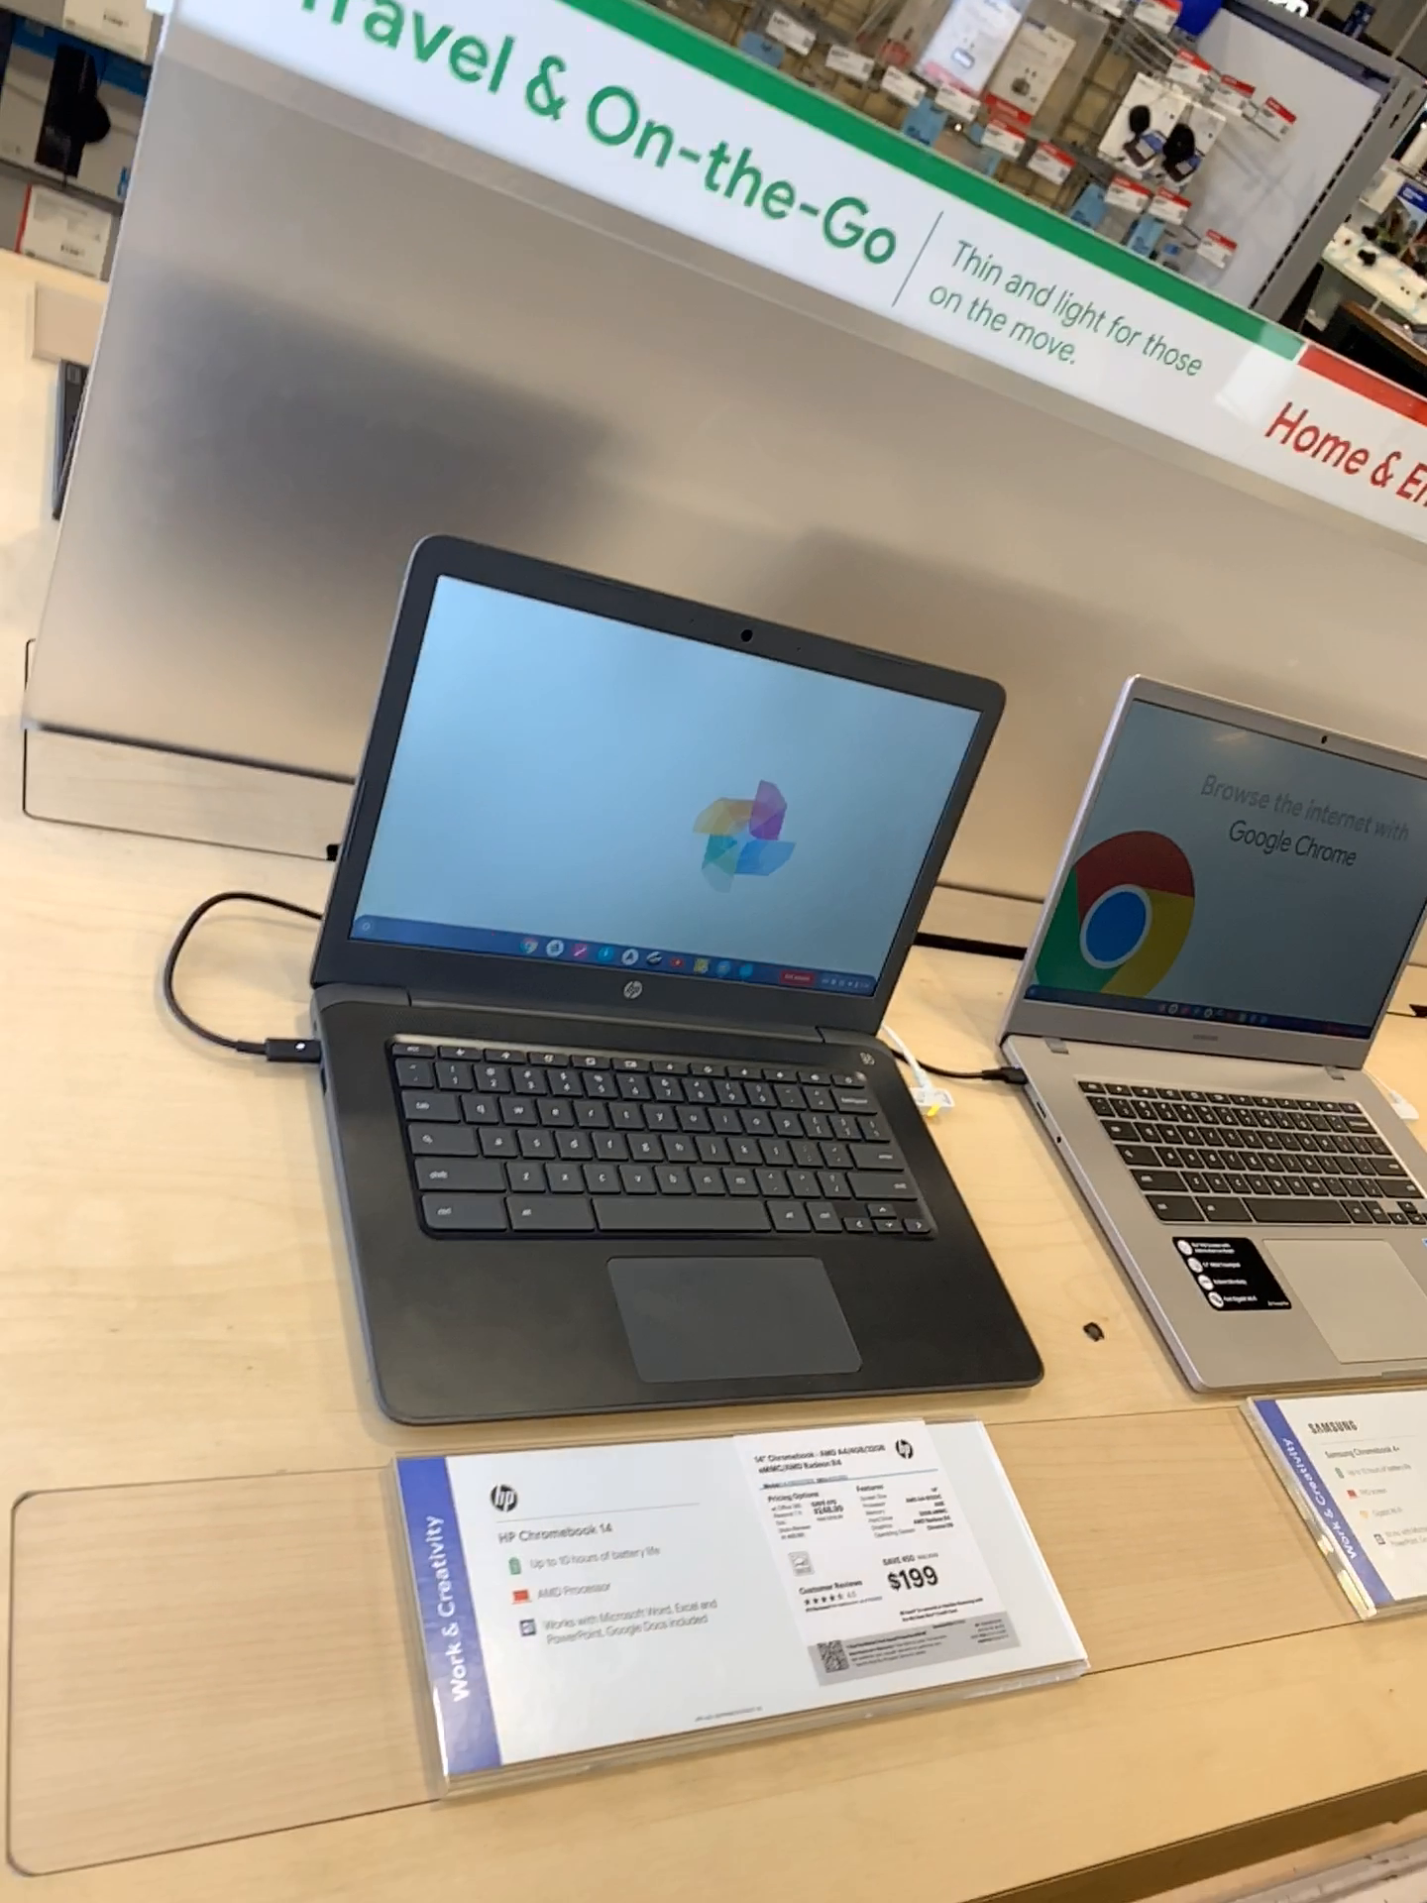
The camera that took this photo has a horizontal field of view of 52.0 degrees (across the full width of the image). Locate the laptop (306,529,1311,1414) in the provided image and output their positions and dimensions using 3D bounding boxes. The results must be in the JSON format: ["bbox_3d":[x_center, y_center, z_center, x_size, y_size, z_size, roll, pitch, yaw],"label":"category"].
[{"bbox_3d":[0.019,0.010,0.659,0.320,0.198,0.293,6,42,-30],"label":"laptop"}]
